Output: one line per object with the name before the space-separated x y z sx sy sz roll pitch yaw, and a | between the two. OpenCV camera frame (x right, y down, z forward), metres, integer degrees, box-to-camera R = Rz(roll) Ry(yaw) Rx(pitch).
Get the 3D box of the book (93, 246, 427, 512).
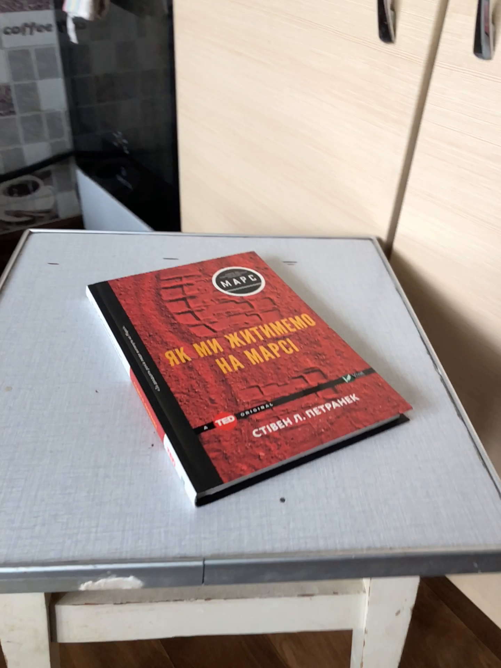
book | -0.007 0.007 0.383 0.146 0.015 0.214 -15 42 -23
